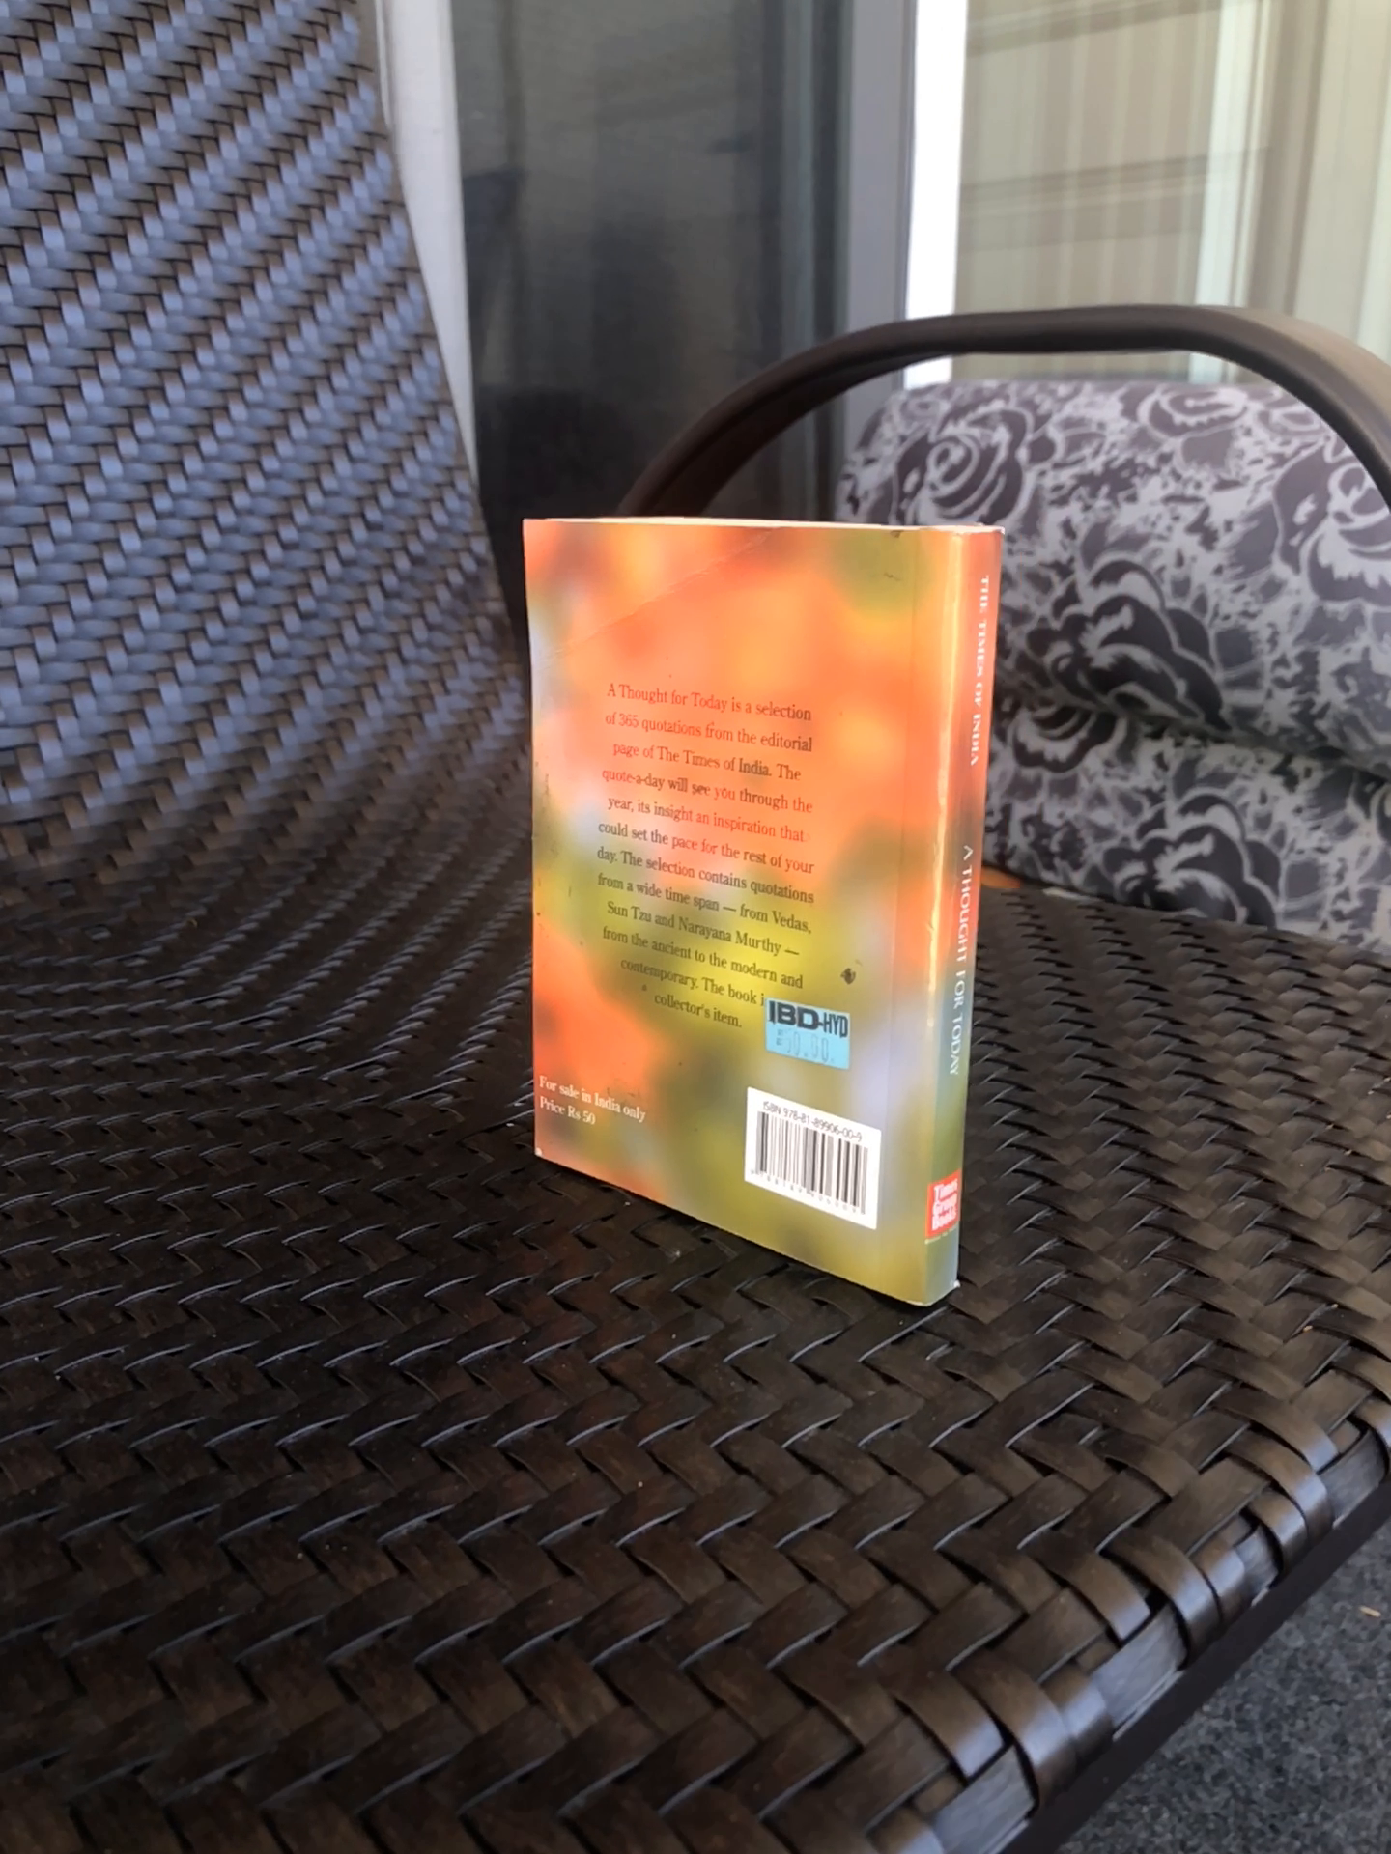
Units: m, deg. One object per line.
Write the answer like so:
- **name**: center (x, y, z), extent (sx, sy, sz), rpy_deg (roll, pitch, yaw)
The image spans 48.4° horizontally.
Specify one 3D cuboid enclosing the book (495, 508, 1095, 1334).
- **book**: center (0.011, -0.008, 0.284), extent (0.106, 0.129, 0.031), rpy_deg (15, 21, 38)
